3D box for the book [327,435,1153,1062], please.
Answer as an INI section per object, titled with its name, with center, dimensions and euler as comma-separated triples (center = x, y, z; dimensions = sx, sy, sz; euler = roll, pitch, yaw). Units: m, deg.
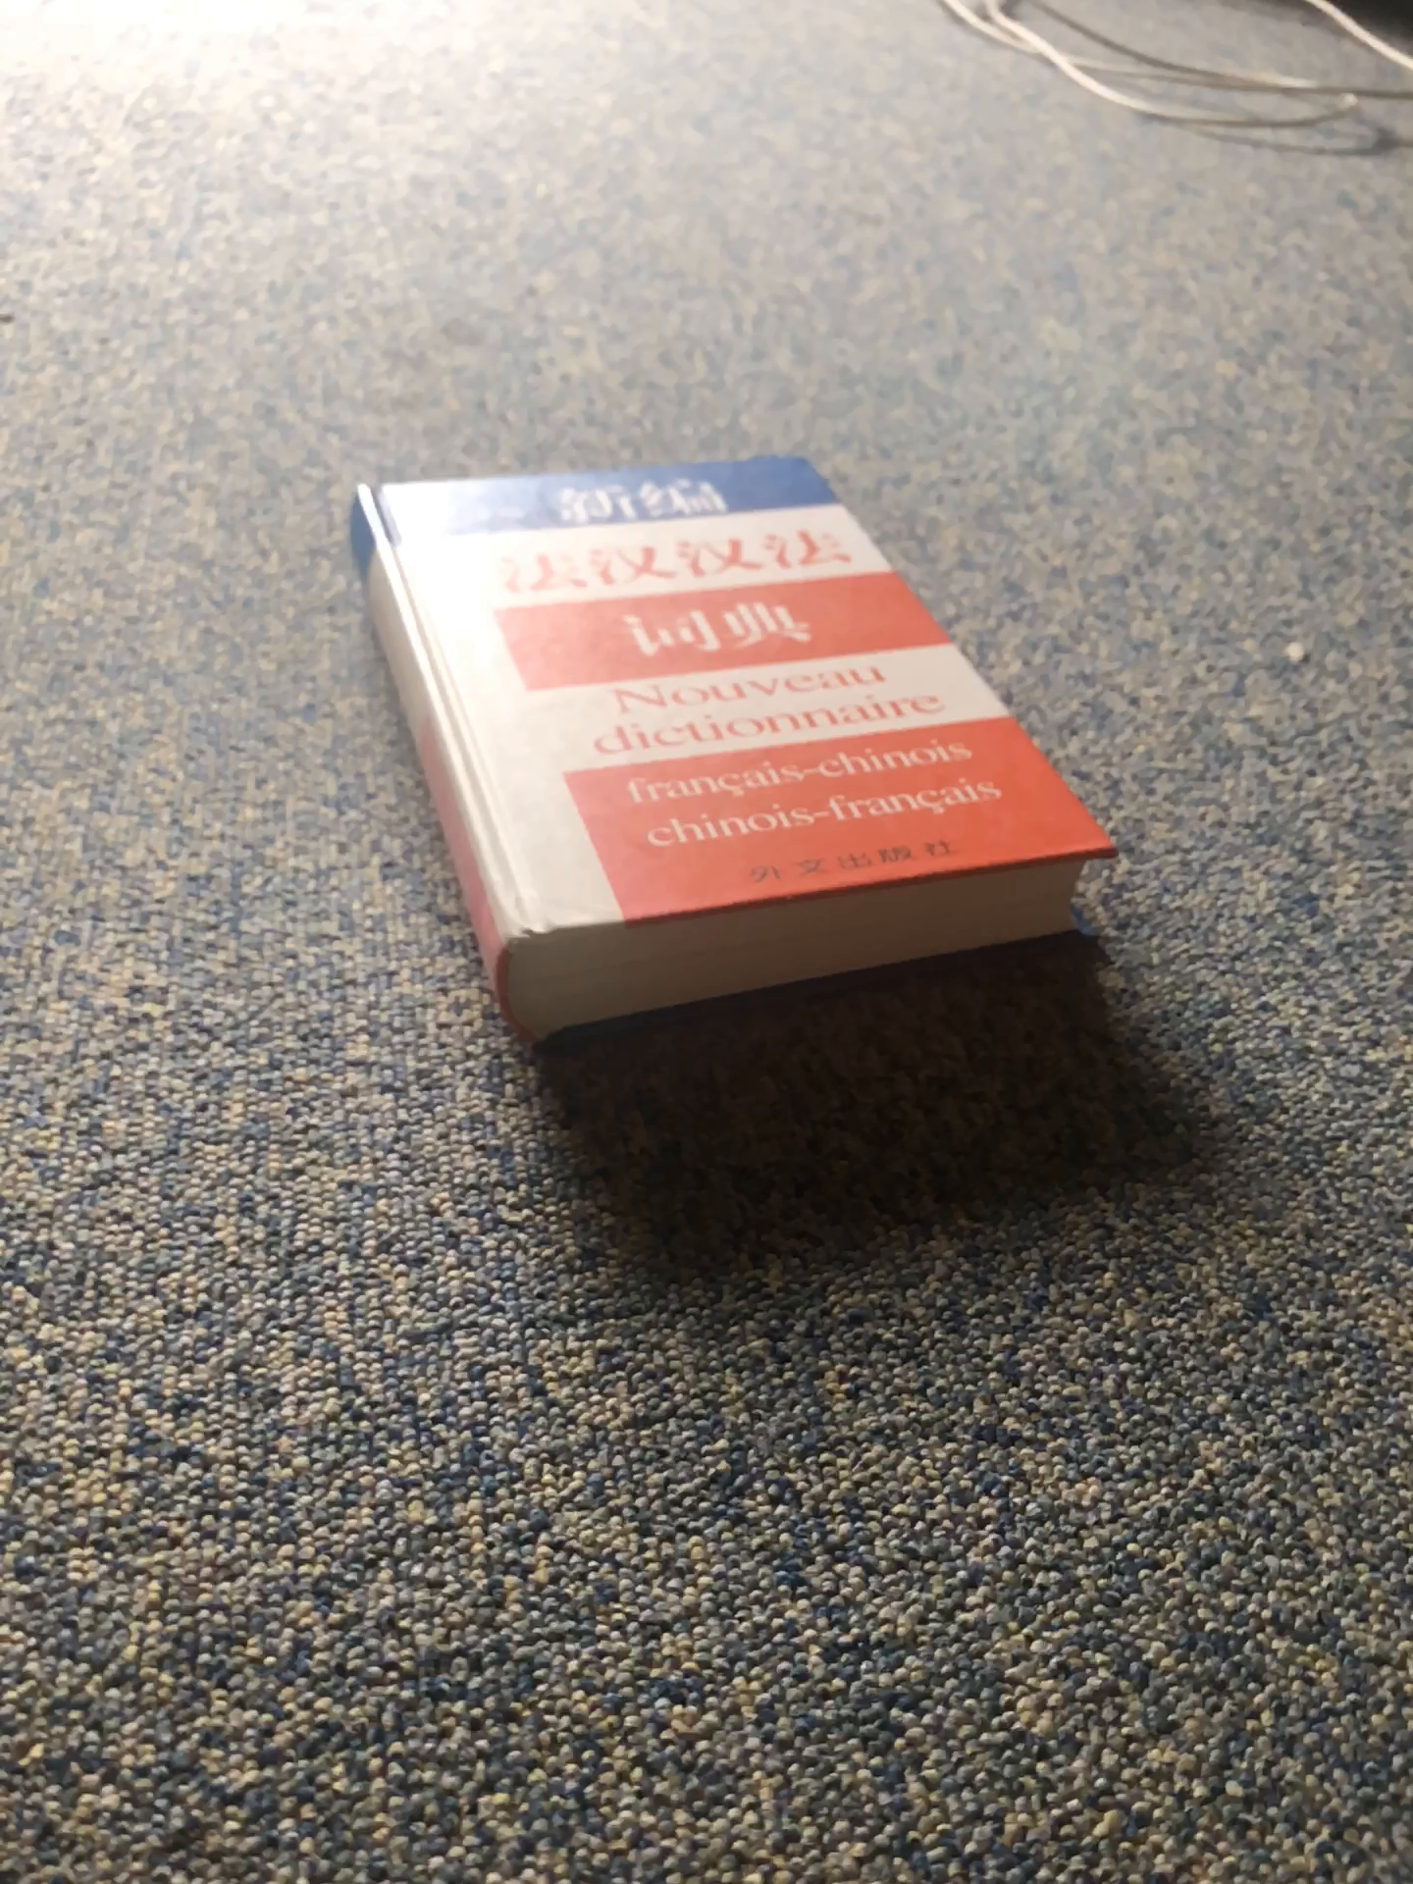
[book]
center = -0.006, -0.068, 0.415
dimensions = 0.153, 0.034, 0.209
euler = -9, 44, -17
